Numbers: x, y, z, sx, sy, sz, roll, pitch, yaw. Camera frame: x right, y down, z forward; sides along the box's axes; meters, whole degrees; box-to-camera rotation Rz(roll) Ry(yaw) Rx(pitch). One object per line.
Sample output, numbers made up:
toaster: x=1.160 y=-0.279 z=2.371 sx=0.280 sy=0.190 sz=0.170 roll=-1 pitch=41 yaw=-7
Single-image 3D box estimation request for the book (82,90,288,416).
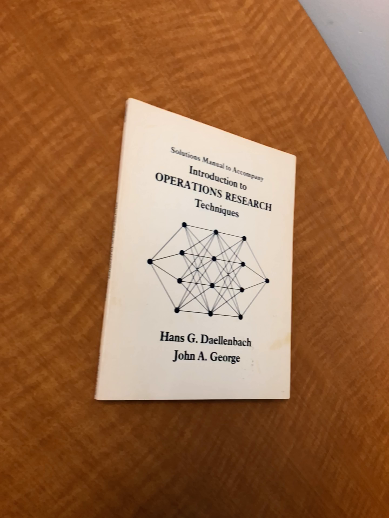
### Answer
book: x=0.006 y=0.000 z=0.374 sx=0.180 sy=0.020 sz=0.250 roll=10 pitch=77 yaw=-30
